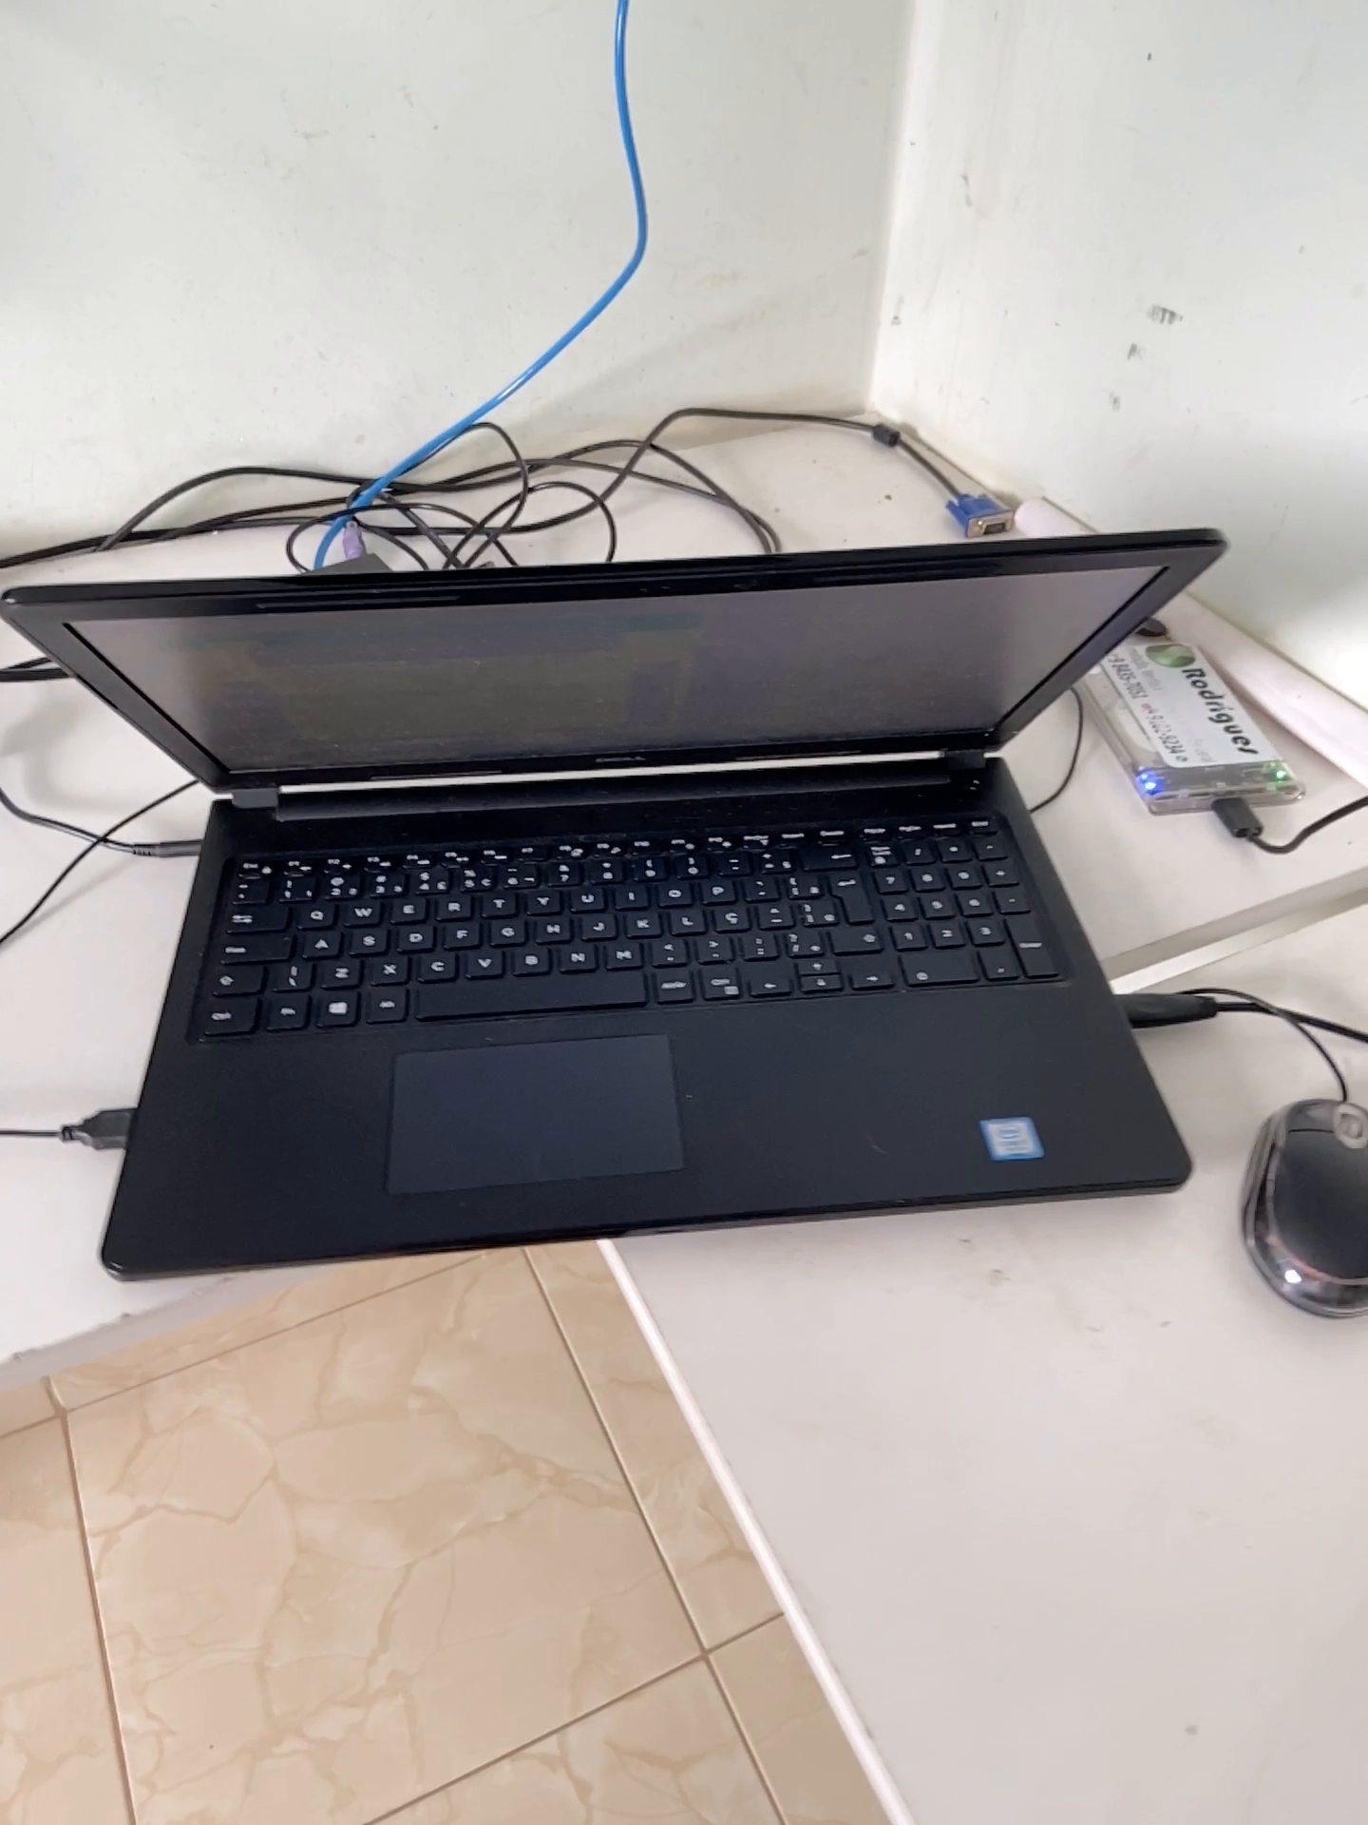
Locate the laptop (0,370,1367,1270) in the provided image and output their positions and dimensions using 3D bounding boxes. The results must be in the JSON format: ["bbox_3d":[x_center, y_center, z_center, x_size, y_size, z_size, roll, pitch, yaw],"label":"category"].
[{"bbox_3d":[-0.015,-0.052,0.514,0.372,0.192,0.257,-3,41,-7],"label":"laptop"}]
